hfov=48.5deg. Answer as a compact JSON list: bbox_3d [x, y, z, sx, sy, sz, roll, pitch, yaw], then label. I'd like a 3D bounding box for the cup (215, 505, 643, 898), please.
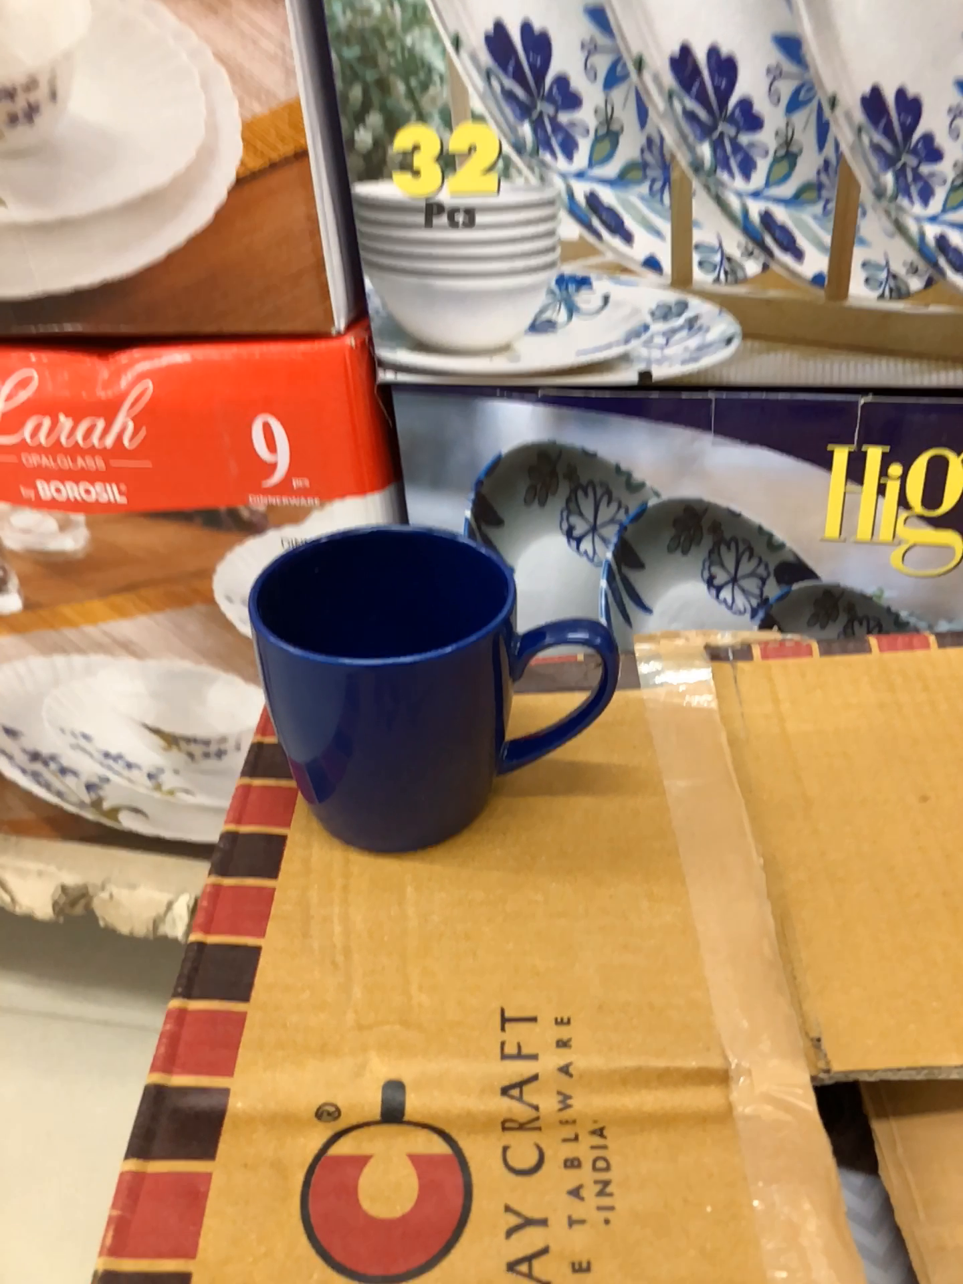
[{"bbox_3d":[-0.006,0.014,0.296,0.100,0.079,0.071,0,33,9],"label":"cup"}]
